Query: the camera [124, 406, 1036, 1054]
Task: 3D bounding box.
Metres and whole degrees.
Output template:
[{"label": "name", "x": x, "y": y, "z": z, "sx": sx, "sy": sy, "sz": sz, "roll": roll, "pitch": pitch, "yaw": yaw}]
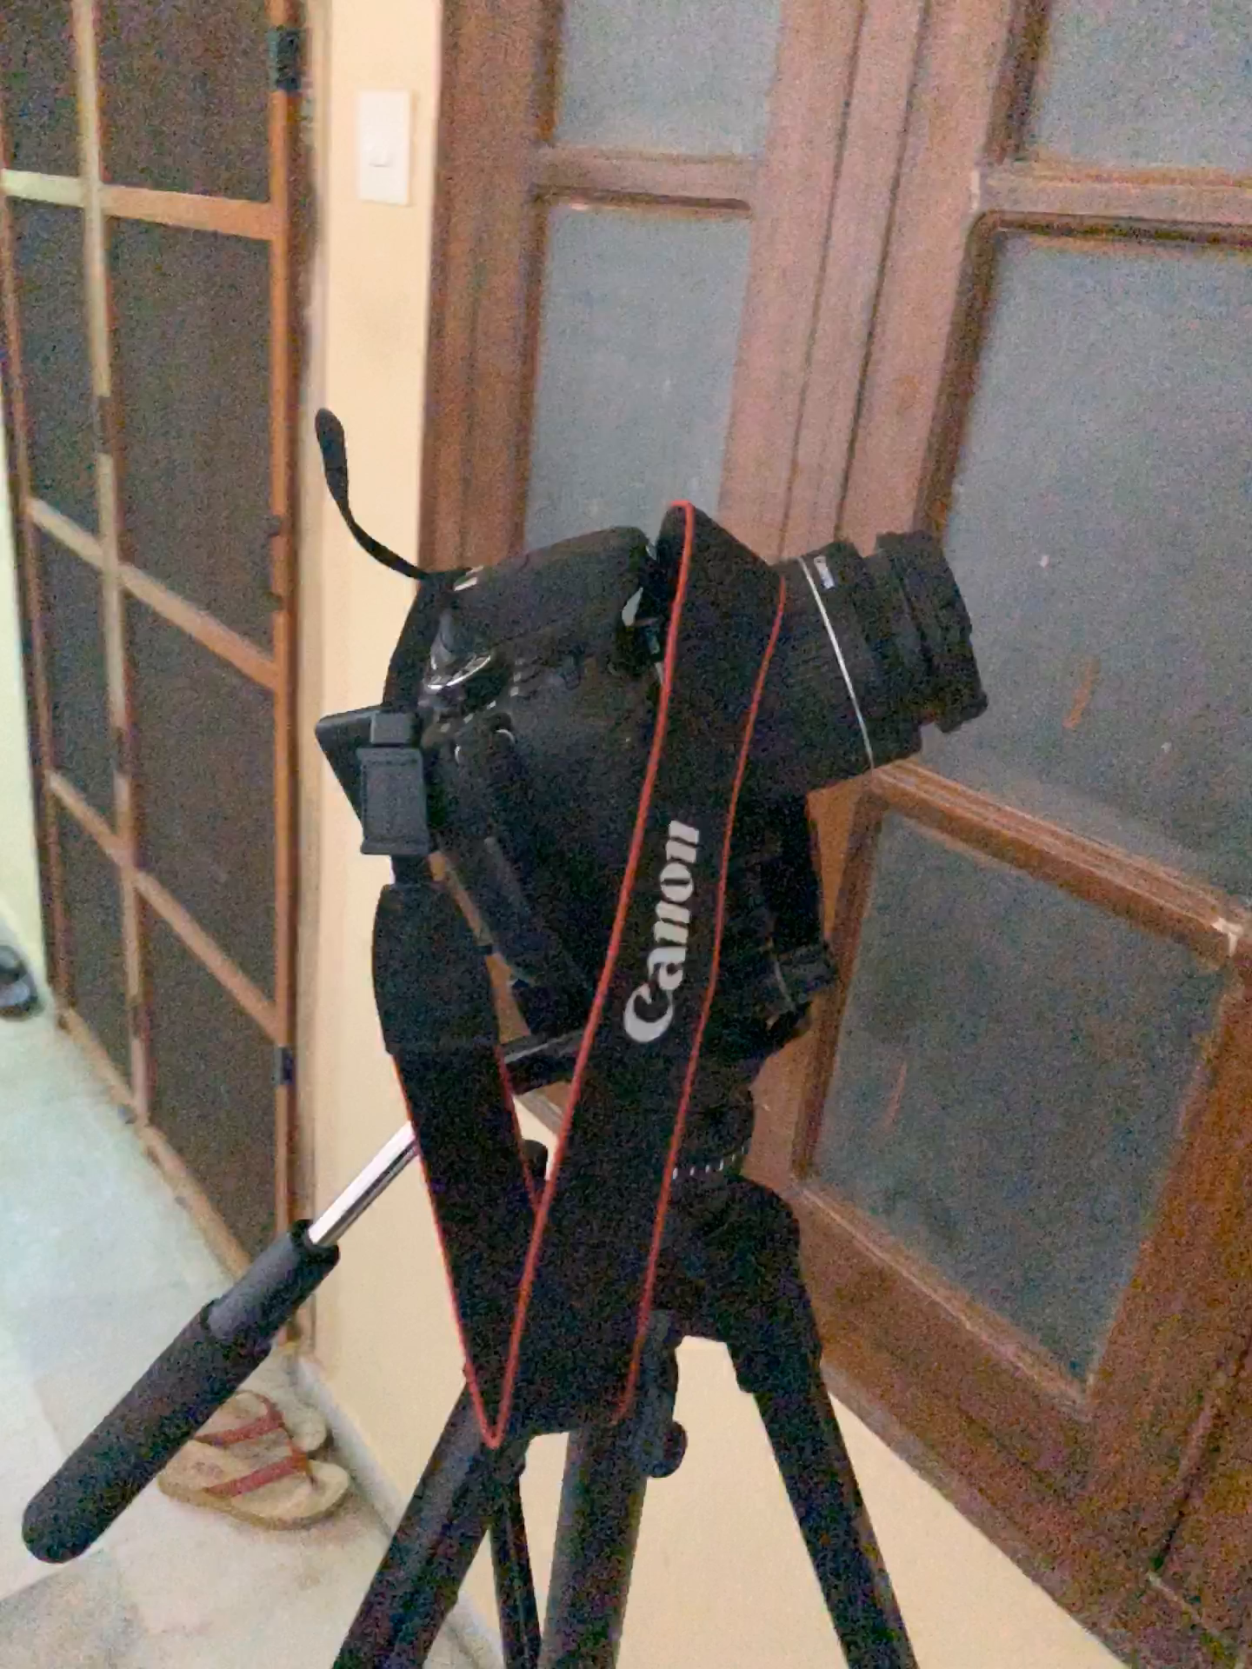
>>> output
[{"label": "camera", "x": -0.012, "y": -0.042, "z": 0.411, "sx": 0.225, "sy": 0.100, "sz": 0.142, "roll": -18, "pitch": 24, "yaw": 4}]
